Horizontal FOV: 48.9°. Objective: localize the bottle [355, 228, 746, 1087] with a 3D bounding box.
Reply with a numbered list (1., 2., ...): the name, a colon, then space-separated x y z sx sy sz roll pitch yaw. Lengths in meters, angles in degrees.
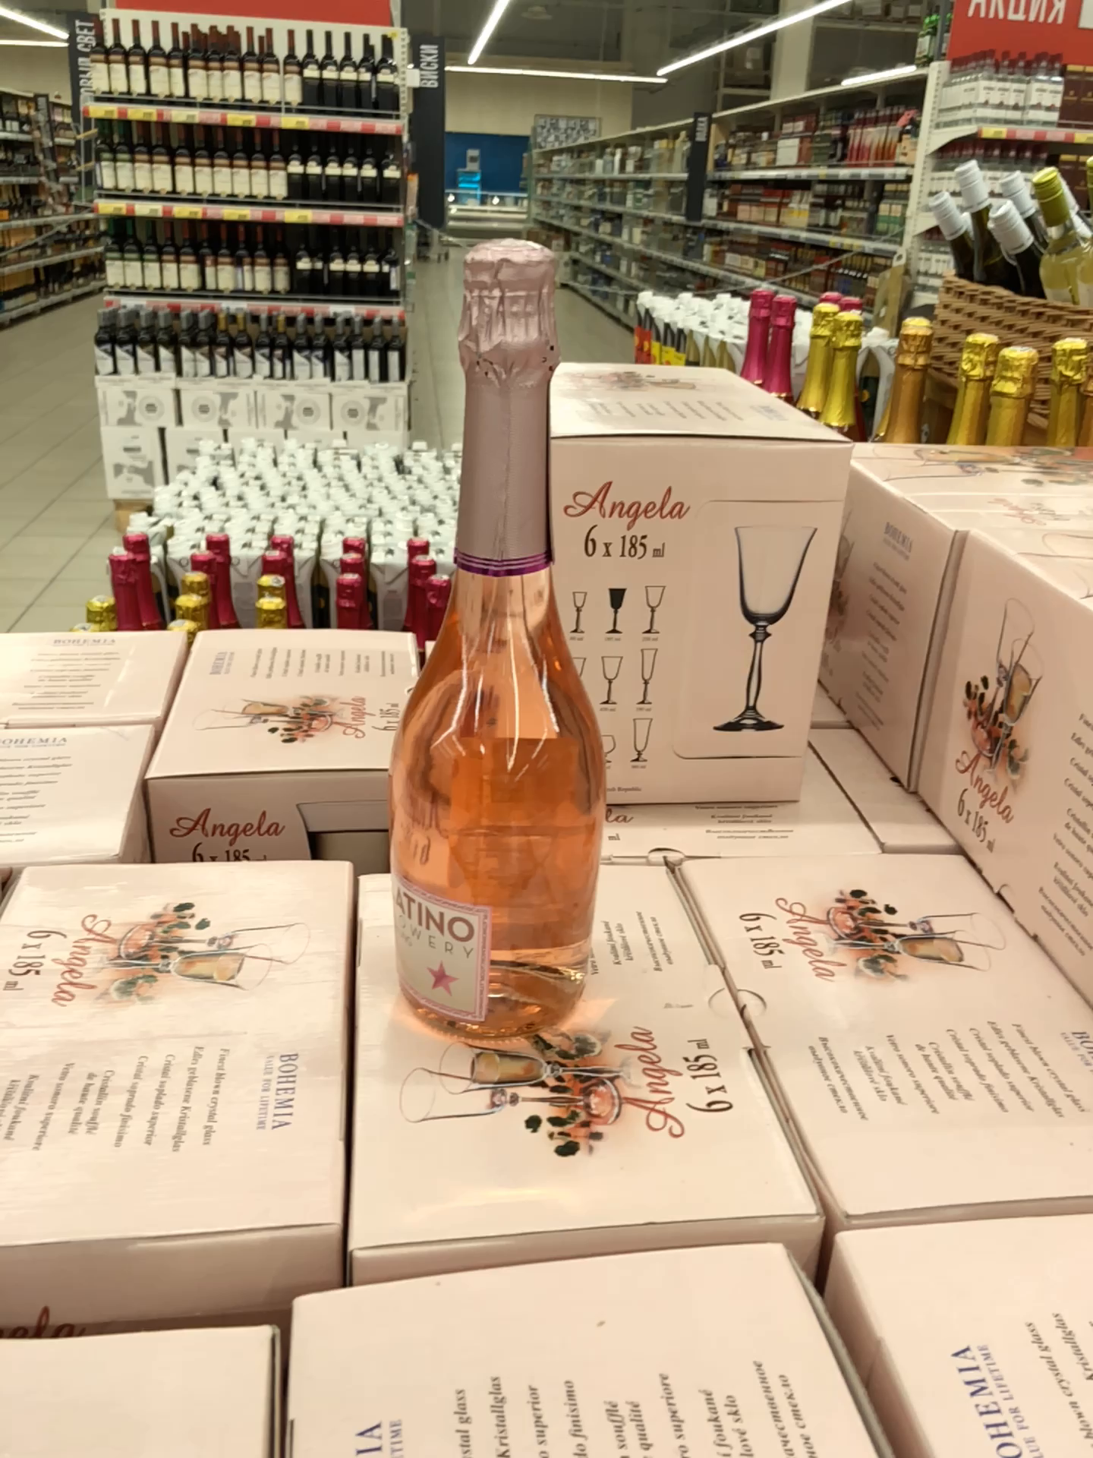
1. bottle: -0.008 -0.027 0.475 0.100 0.308 0.100 2 23 -1
